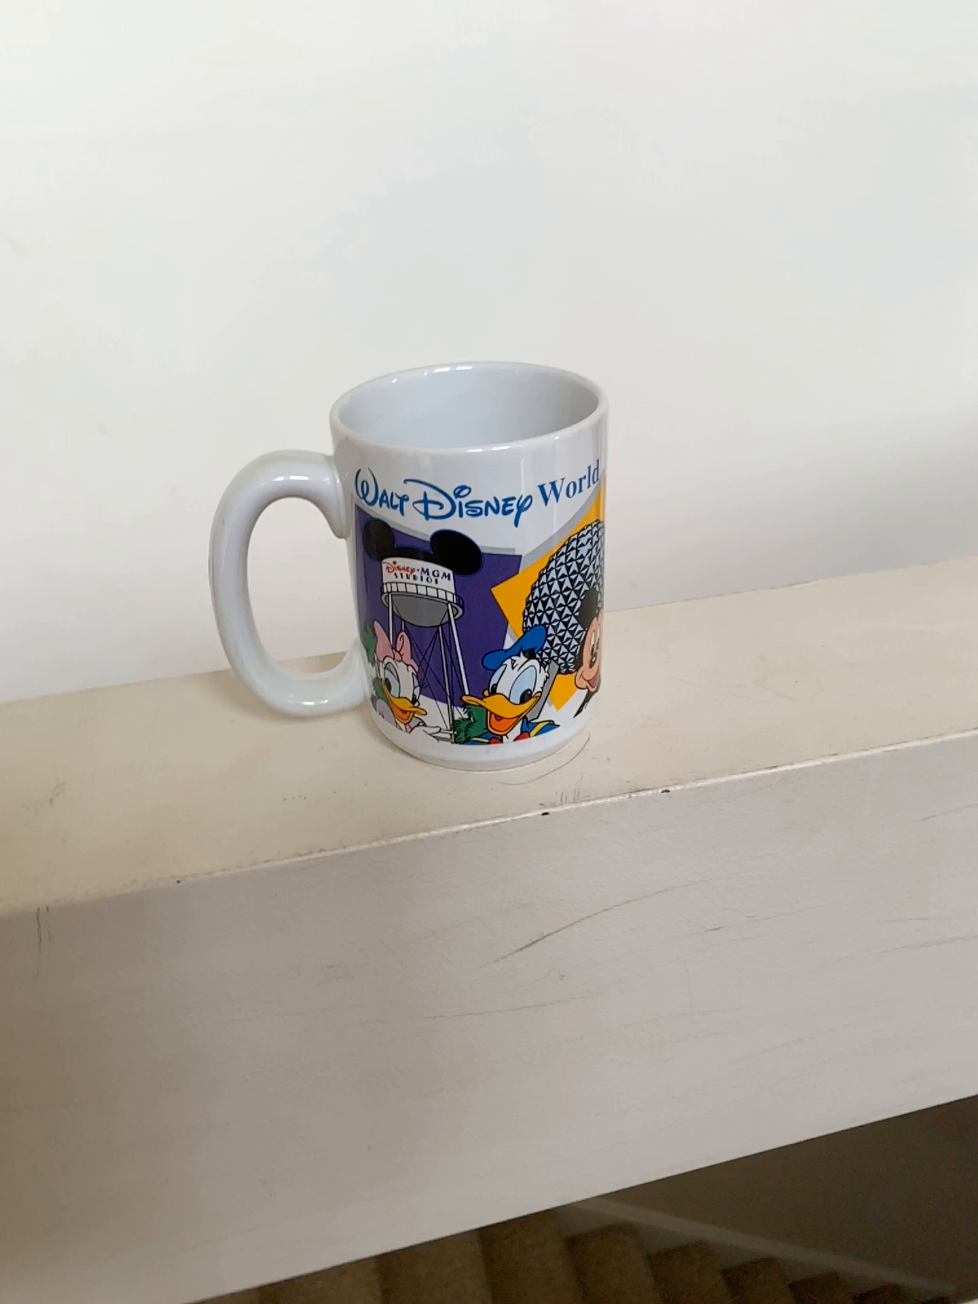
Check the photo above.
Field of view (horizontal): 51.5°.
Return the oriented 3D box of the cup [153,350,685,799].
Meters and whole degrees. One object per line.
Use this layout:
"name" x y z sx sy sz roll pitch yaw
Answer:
"cup" -0.019 -0.028 0.328 0.140 0.109 0.080 -5 30 -5
